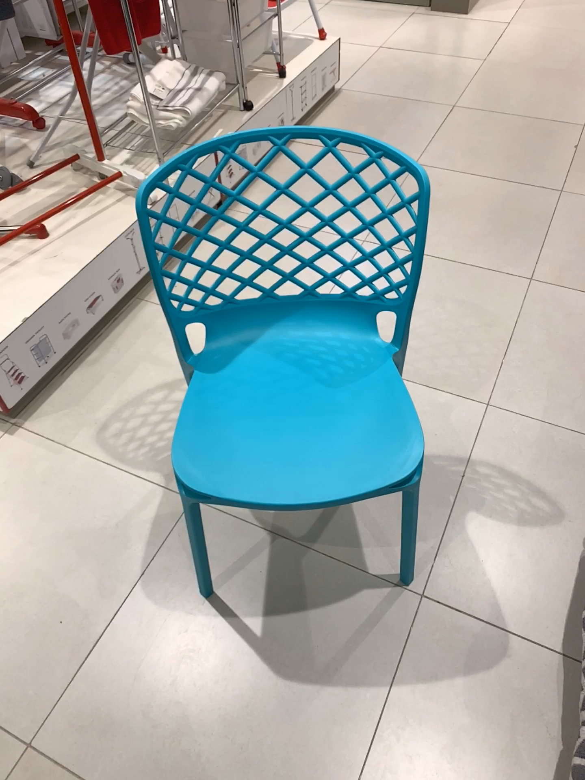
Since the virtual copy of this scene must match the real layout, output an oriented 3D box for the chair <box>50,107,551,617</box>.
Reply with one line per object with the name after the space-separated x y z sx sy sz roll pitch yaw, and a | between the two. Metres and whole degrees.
0.015 -0.003 1.135 0.560 0.797 0.522 -4 48 0 | chair
